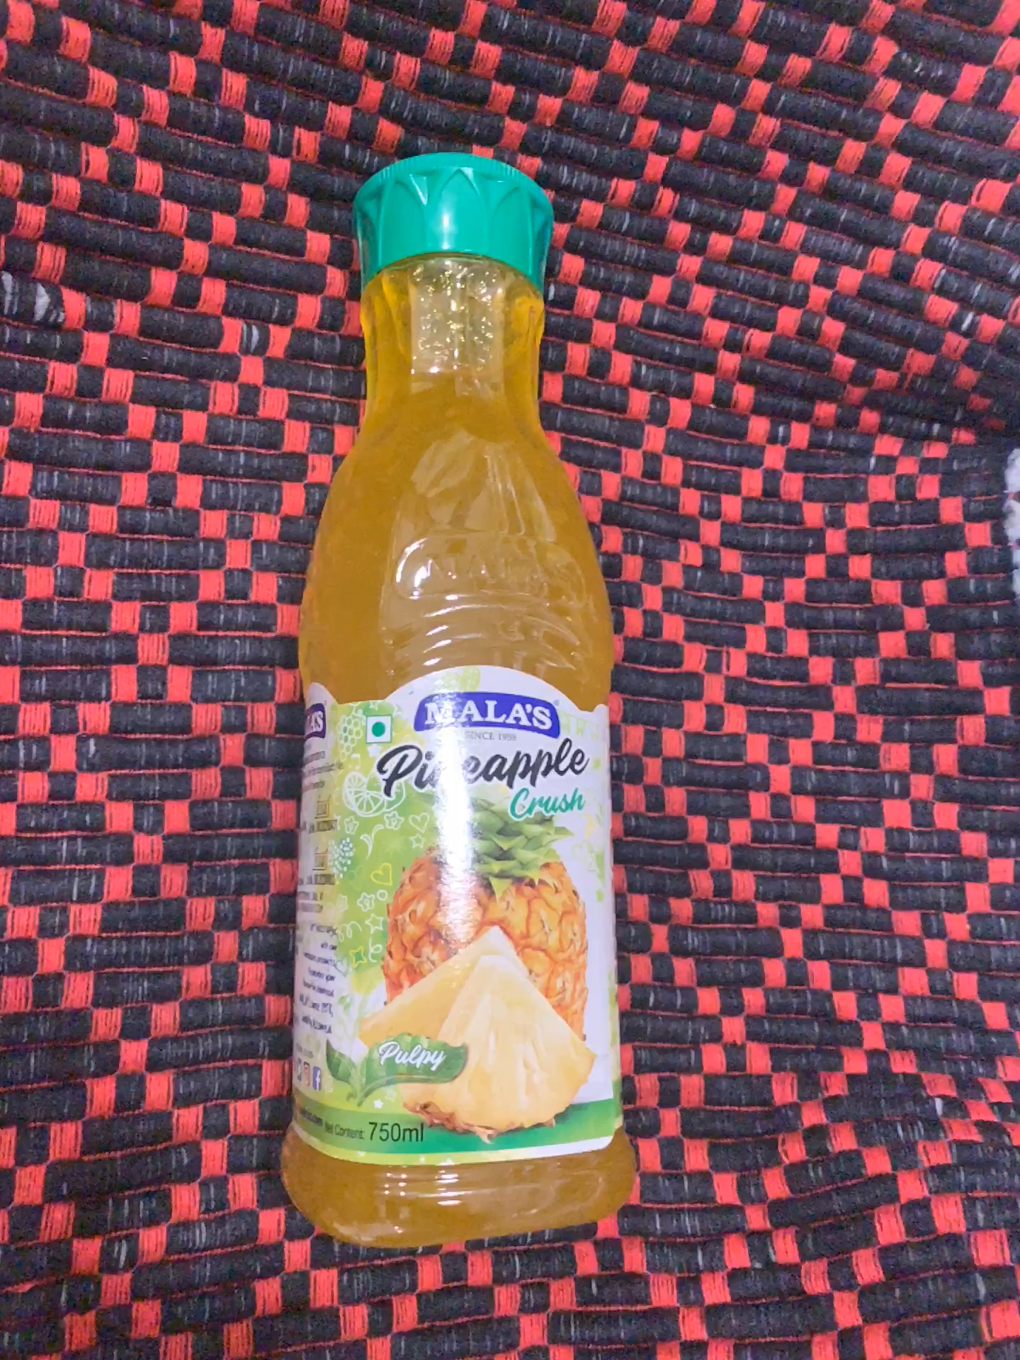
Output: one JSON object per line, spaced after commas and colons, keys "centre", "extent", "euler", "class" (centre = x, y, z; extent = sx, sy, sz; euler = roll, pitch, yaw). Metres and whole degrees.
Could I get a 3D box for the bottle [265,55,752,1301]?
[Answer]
{"centre": [-0.007, -0.005, 0.238], "extent": [0.080, 0.070, 0.230], "euler": [3, 78, -21], "class": "bottle"}
